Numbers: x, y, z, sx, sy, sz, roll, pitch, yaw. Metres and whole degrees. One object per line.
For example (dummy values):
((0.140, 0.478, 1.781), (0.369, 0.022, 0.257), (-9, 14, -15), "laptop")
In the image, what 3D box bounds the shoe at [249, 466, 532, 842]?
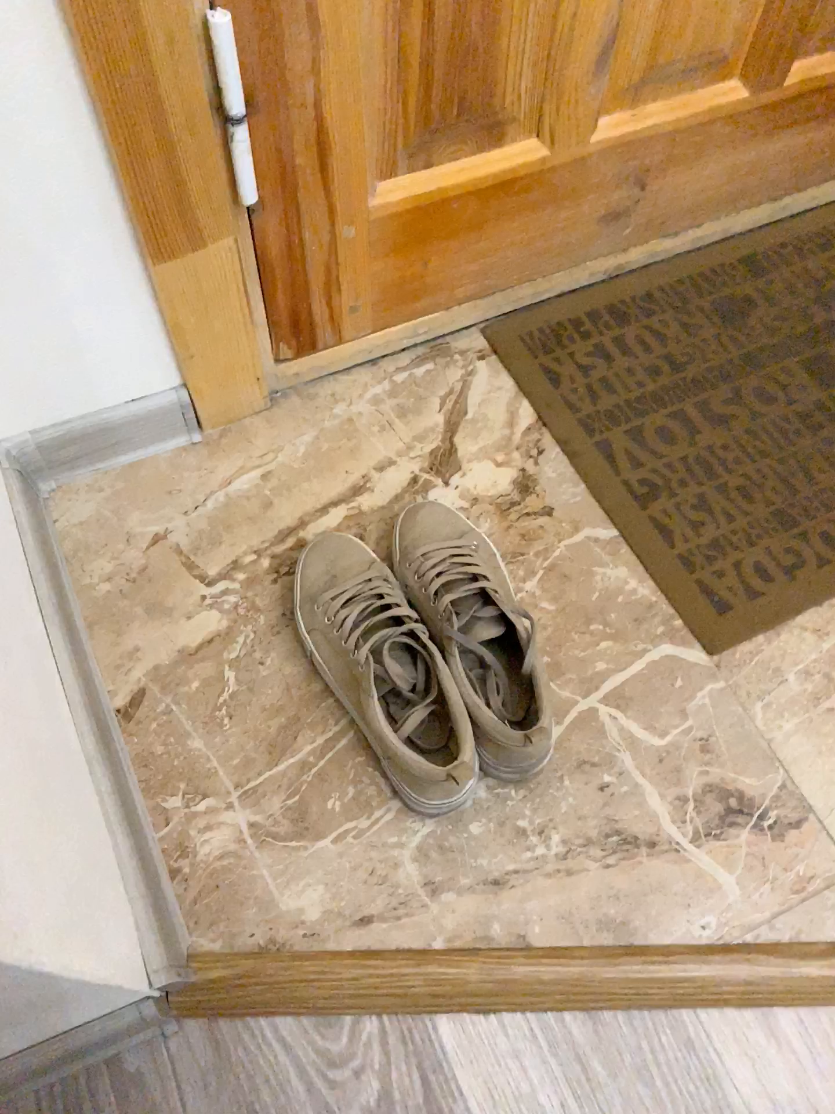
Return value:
((-0.026, 0.067, 0.626), (0.090, 0.100, 0.240), (-25, 64, -15), "shoe")

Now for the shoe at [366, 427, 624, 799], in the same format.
((0.045, 0.037, 0.635), (0.090, 0.100, 0.241), (-18, 62, -11), "shoe")
